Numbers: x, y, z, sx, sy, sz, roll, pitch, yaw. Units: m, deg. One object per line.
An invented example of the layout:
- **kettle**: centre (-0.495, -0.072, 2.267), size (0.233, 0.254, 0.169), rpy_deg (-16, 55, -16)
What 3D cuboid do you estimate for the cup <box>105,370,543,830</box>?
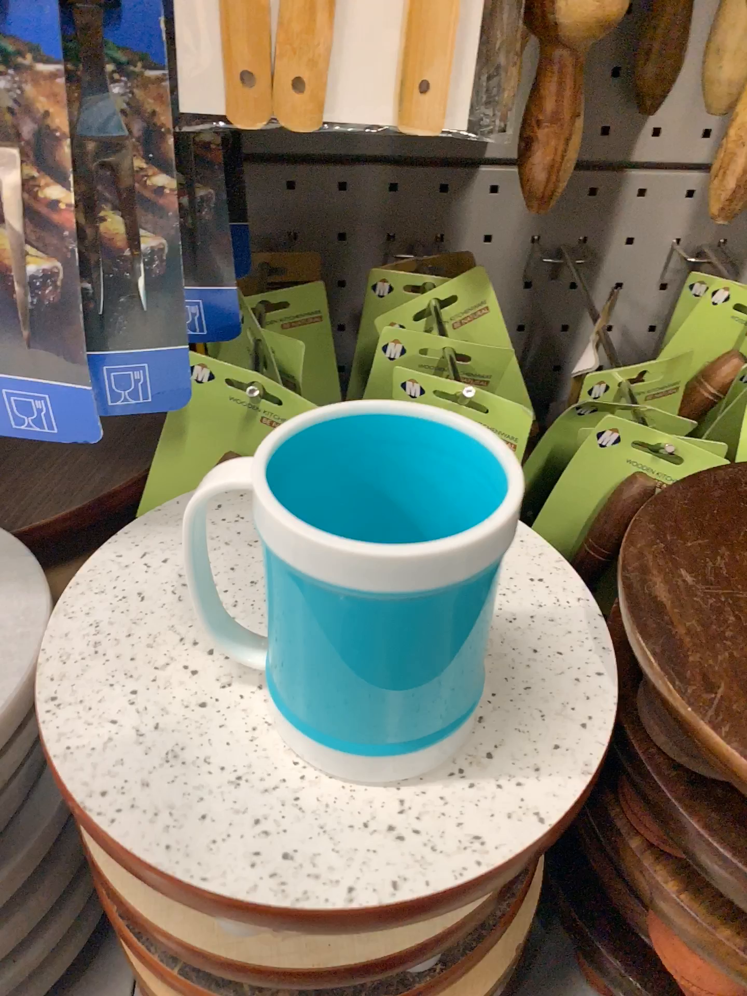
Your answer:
- **cup**: centre (-0.009, 0.031, 0.252), size (0.110, 0.110, 0.080), rpy_deg (8, 36, 7)
